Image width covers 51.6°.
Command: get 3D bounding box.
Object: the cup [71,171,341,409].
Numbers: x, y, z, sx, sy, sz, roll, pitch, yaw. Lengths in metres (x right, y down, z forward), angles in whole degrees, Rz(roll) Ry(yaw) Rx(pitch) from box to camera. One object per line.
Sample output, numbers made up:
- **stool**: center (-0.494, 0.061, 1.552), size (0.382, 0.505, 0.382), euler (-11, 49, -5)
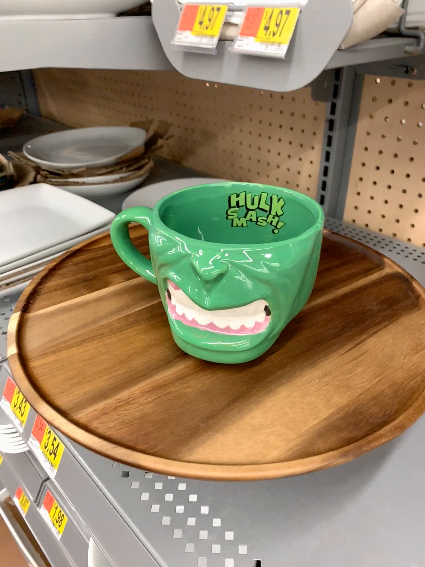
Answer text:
- **cup**: center (0.007, -0.008, 0.306), size (0.140, 0.090, 0.131), euler (0, 32, 0)
